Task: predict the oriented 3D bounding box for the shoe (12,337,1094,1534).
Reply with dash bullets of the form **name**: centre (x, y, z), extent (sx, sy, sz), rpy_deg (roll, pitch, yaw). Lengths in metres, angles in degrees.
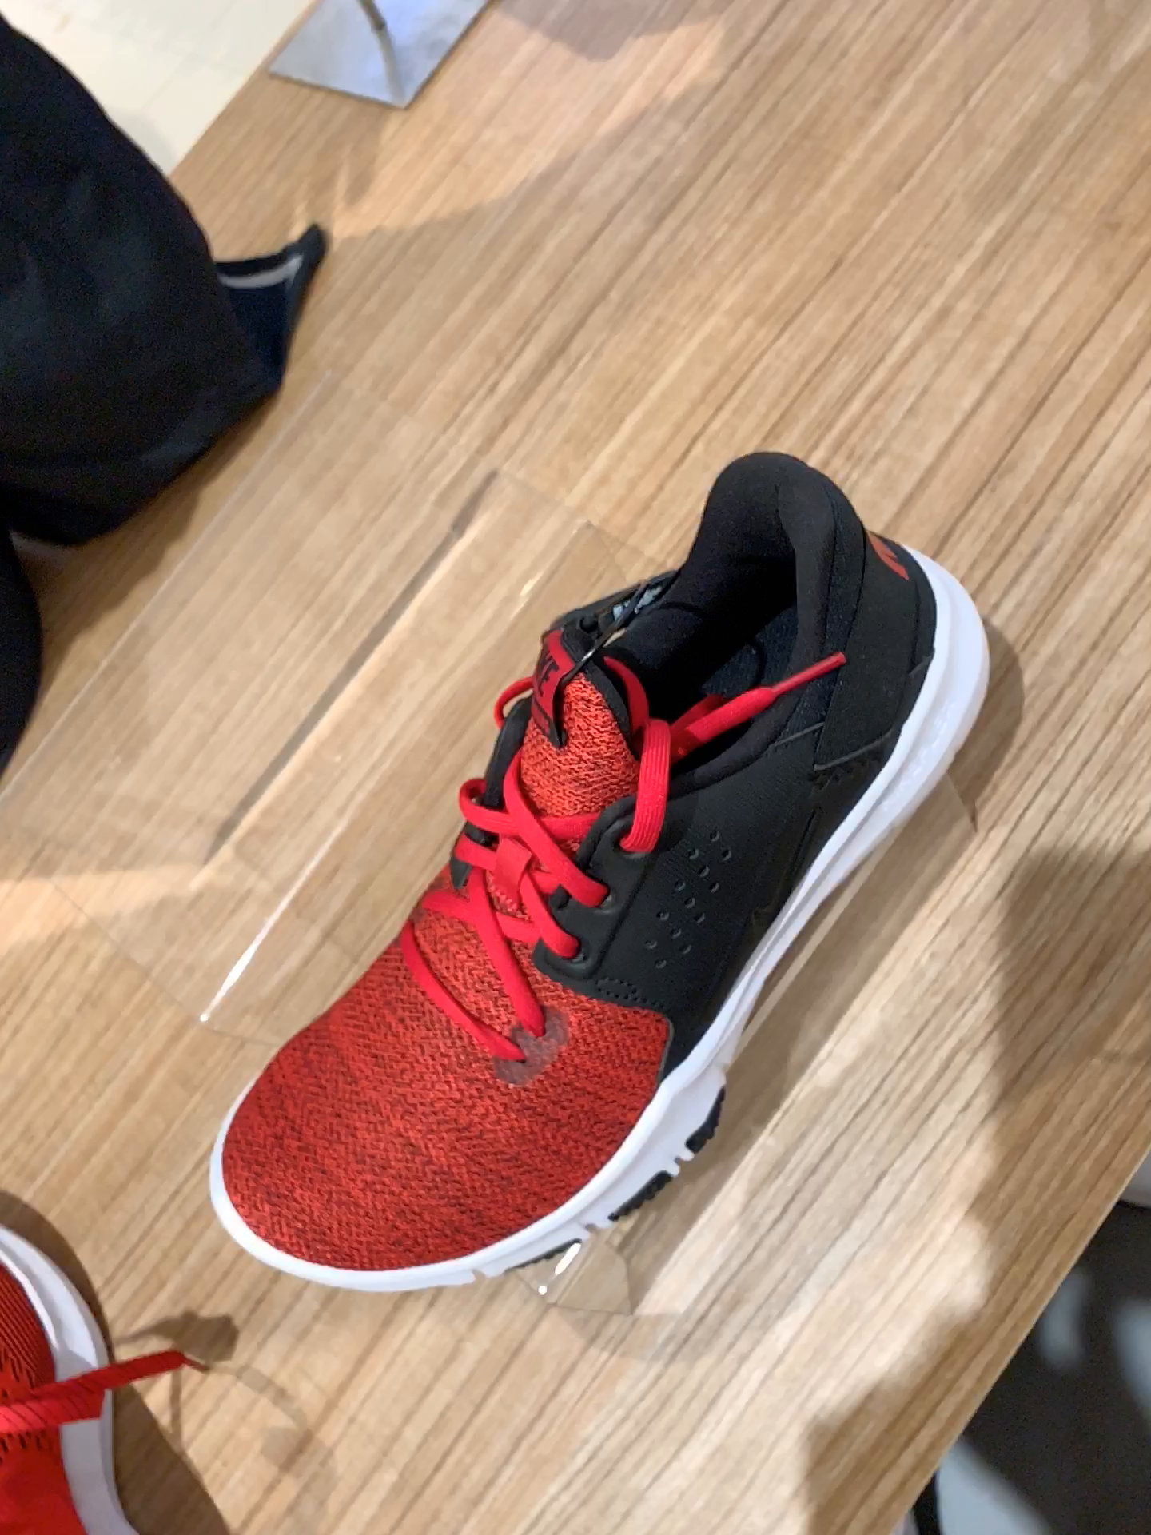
- **shoe**: centre (0.000, 0.040, 0.318), extent (0.111, 0.080, 0.290), rpy_deg (37, 86, 31)
